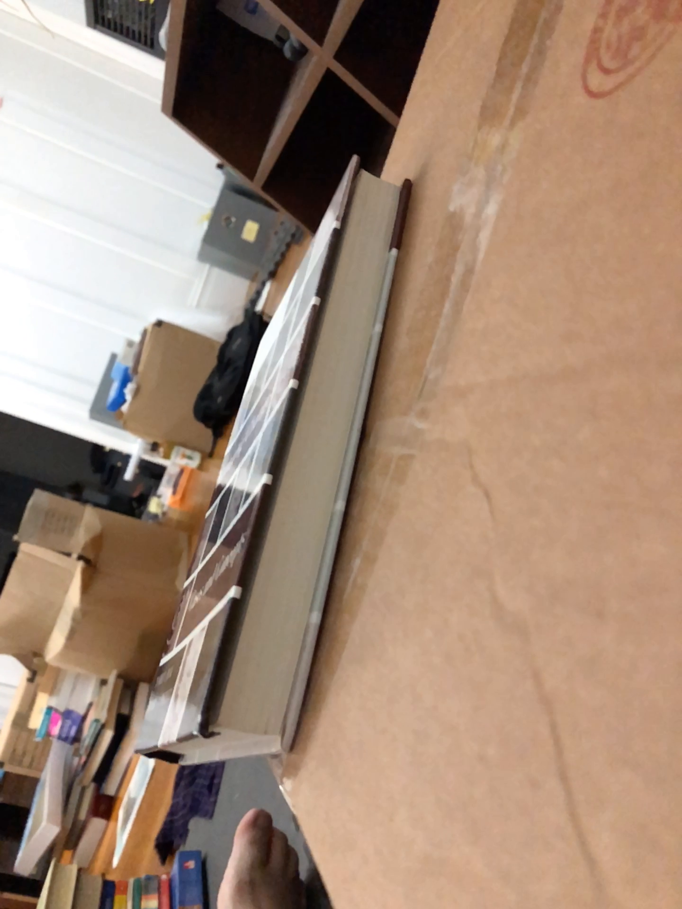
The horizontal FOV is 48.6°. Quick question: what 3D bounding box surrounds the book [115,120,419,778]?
[{"bbox_3d":[-0.036,0.008,0.338,0.180,0.030,0.250,135,151,-58],"label":"book"}]
